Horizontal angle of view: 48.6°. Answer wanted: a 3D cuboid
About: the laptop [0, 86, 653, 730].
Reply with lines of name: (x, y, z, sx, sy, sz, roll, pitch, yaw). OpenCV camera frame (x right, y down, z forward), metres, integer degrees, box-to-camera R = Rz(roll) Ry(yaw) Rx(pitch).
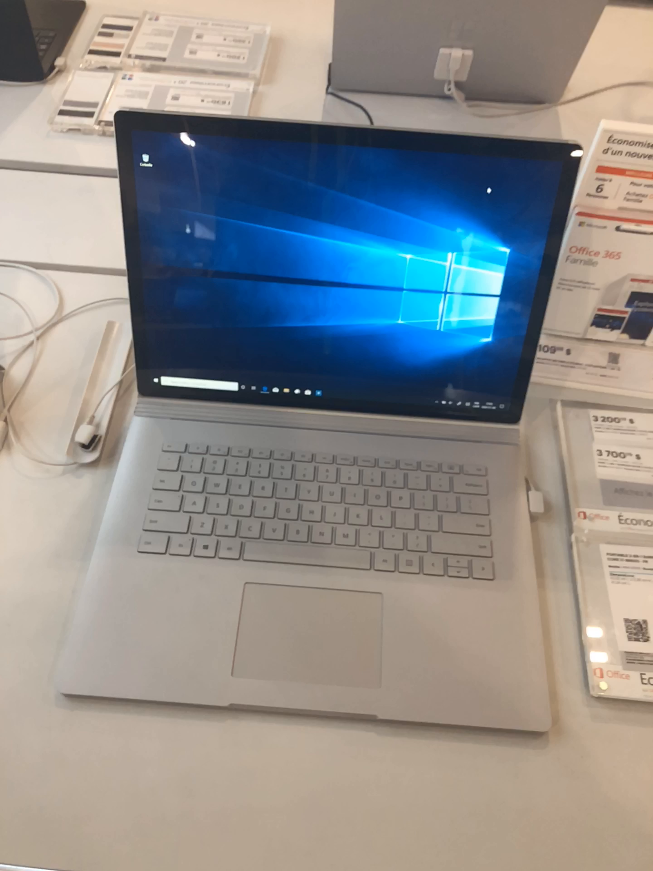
laptop: (-0.002, -0.026, 0.515, 0.338, 0.207, 0.366, 4, 57, 0)
